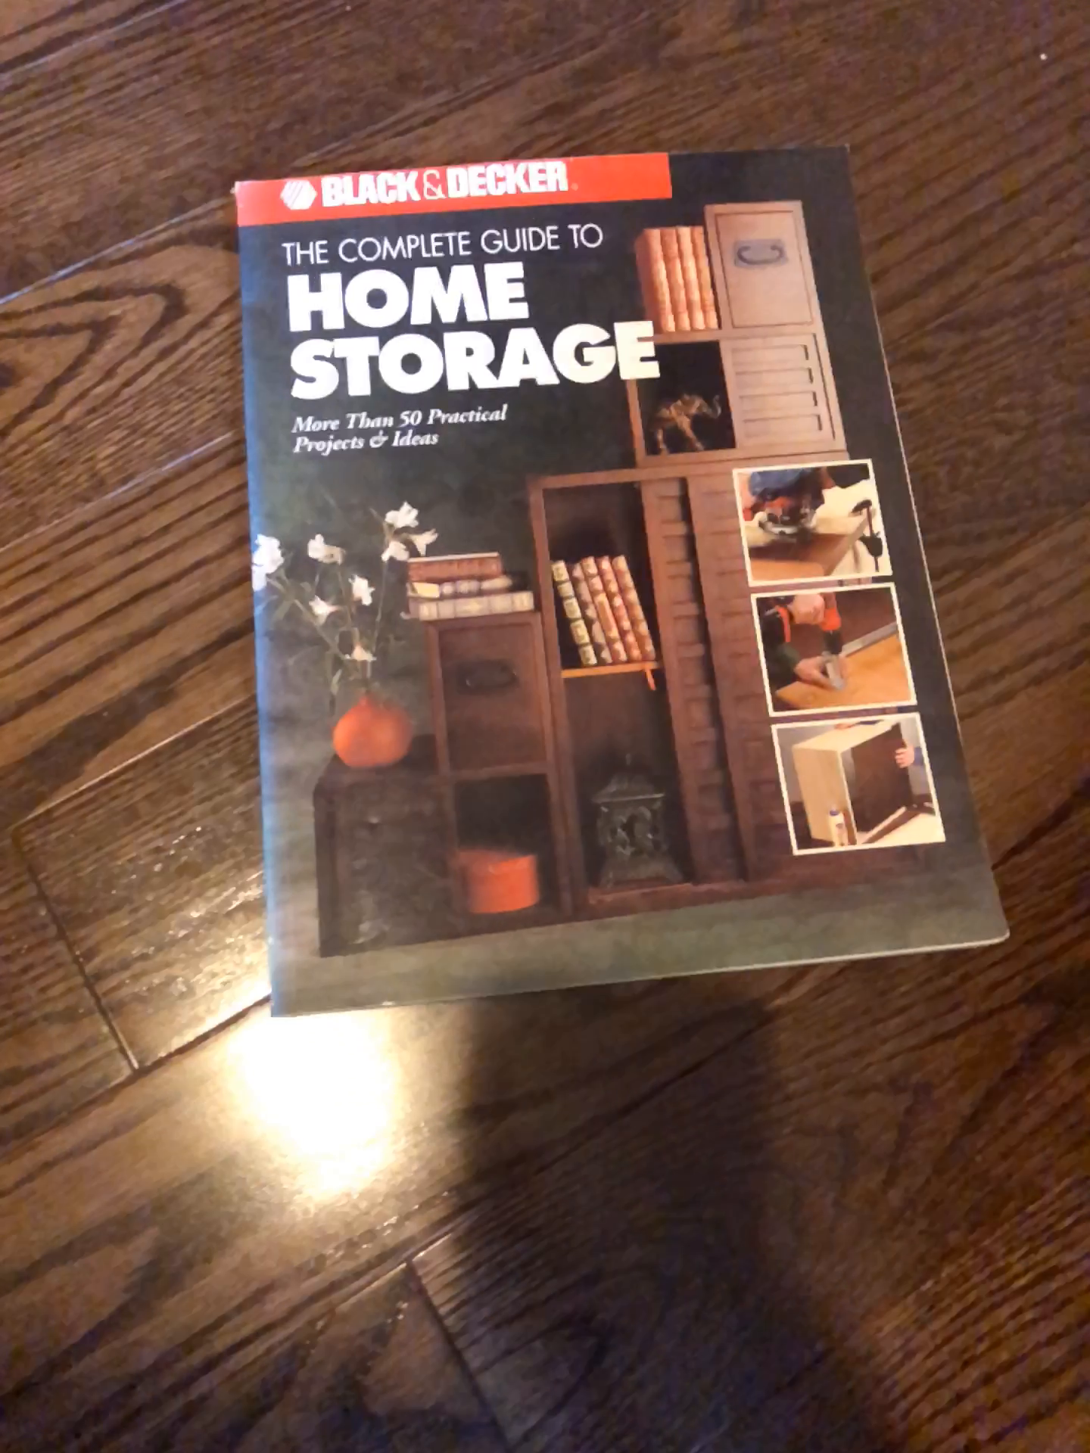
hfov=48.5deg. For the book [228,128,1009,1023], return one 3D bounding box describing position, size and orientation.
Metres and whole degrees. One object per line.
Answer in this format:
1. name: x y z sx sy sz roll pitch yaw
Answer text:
1. book: 0.014 -0.062 0.394 0.215 0.020 0.287 -5 75 -5
